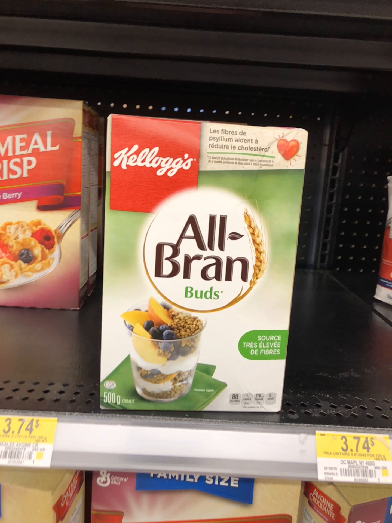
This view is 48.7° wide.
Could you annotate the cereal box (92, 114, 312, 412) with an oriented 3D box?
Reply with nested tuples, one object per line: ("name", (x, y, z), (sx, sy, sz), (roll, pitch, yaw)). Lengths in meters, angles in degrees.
("cereal box", (-0.002, 0.005, 0.346), (0.150, 0.219, 0.050), (3, 12, -5))
